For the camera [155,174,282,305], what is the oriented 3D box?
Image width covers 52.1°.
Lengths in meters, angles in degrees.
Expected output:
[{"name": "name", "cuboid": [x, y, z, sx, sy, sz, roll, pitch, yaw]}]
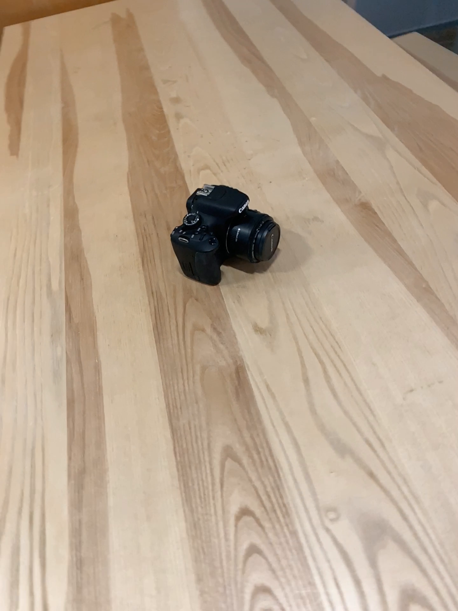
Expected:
[{"name": "camera", "cuboid": [-0.008, -0.091, 0.628, 0.112, 0.094, 0.120, 21, 57, 24]}]
